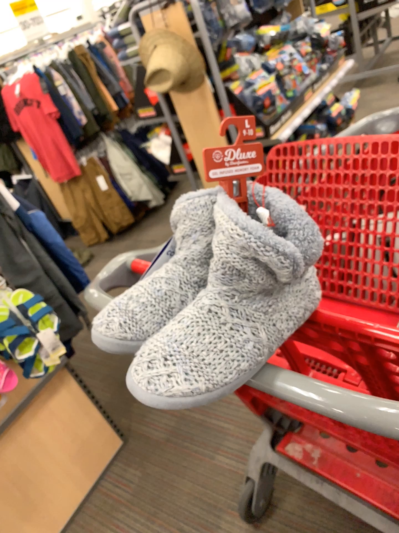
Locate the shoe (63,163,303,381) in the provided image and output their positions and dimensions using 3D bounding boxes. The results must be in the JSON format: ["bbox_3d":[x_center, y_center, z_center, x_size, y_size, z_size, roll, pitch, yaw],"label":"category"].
[{"bbox_3d":[-0.007,-0.010,0.510,0.250,0.139,0.111,-33,31,-26],"label":"shoe"}]

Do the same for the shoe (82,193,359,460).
[{"bbox_3d":[0.032,0.037,0.403,0.230,0.119,0.111,-33,31,-26],"label":"shoe"}]
